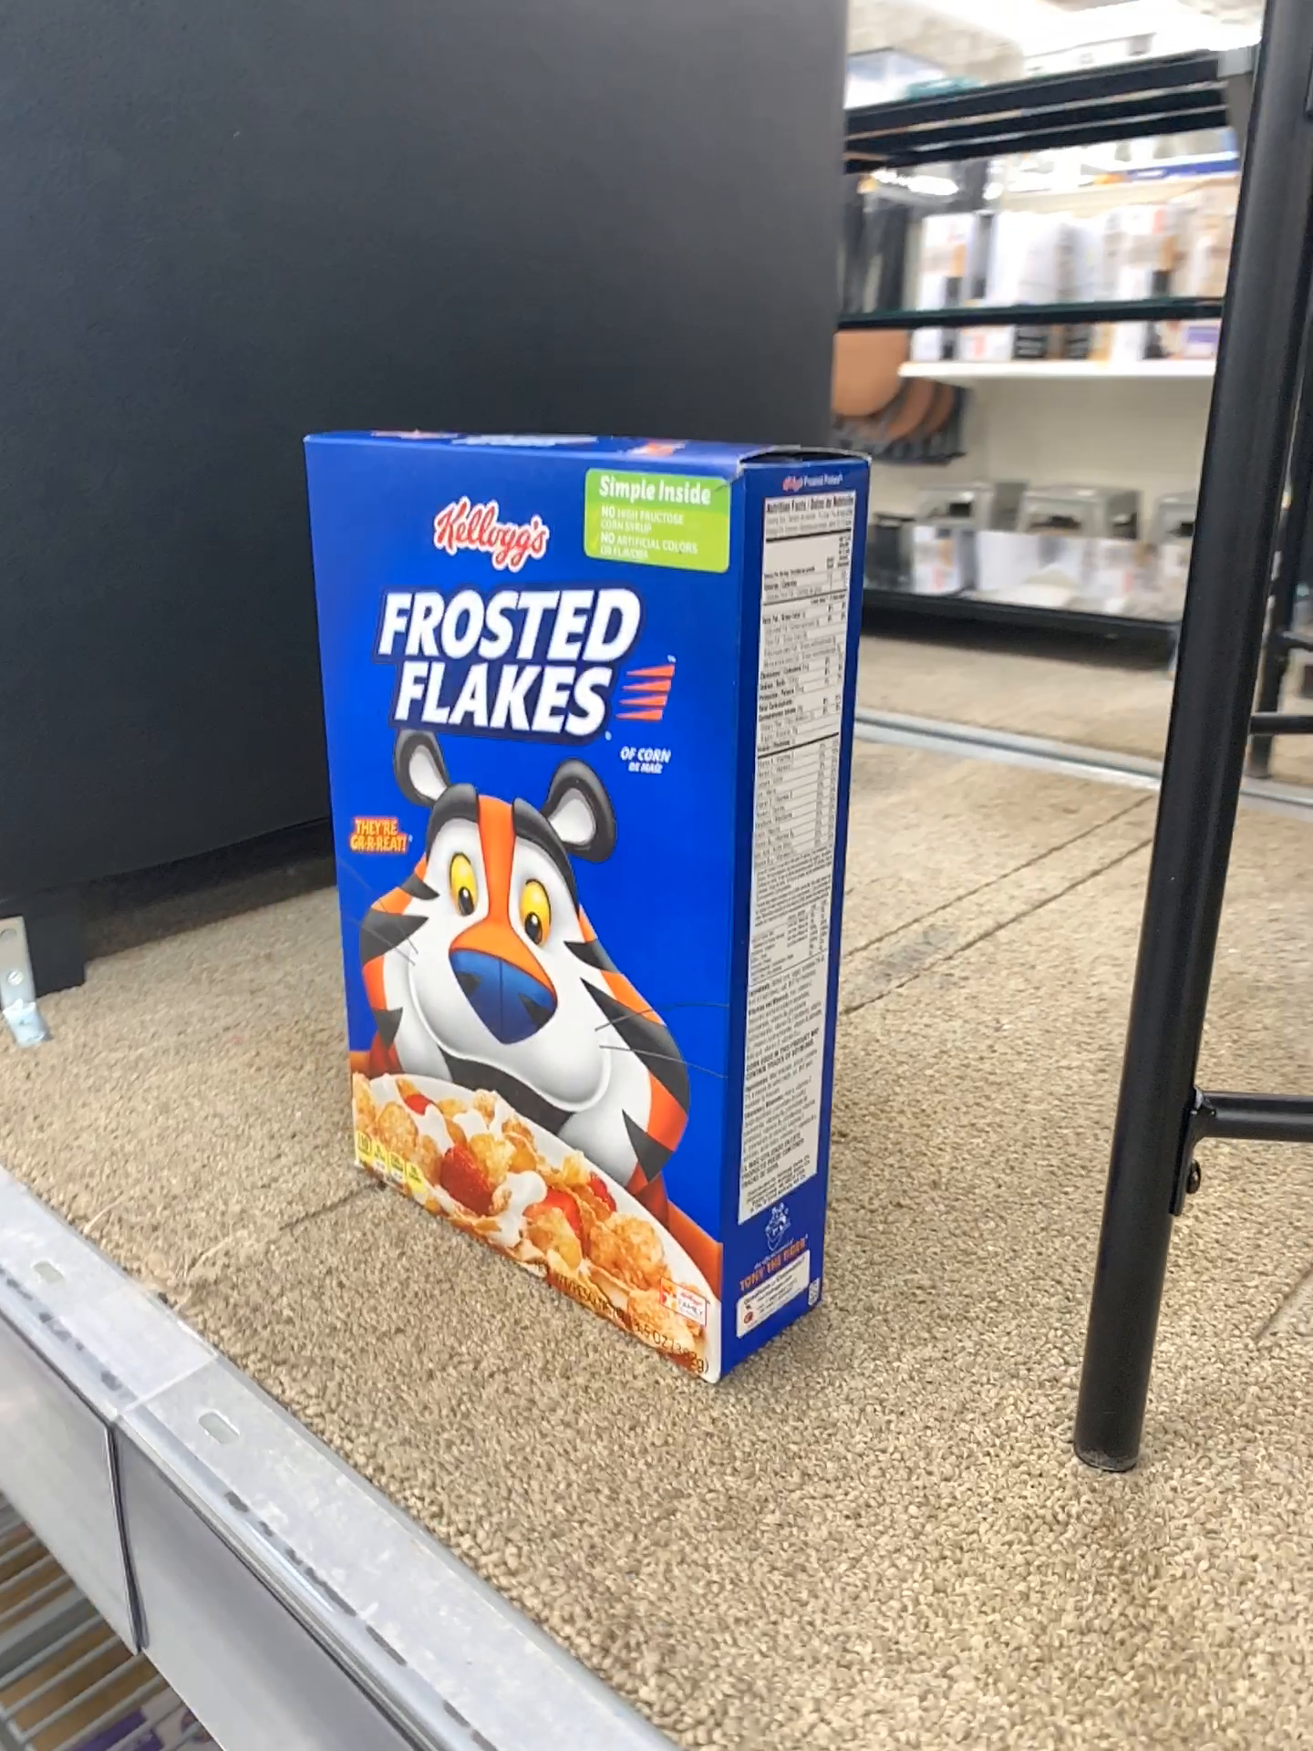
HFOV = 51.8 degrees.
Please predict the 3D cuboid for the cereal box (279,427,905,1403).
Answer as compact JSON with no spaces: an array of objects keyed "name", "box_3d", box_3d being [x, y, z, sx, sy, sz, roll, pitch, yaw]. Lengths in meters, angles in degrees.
[{"name":"cereal box","box_3d":[-0.030,-0.002,0.474,0.211,0.289,0.070,17,26,40]}]
